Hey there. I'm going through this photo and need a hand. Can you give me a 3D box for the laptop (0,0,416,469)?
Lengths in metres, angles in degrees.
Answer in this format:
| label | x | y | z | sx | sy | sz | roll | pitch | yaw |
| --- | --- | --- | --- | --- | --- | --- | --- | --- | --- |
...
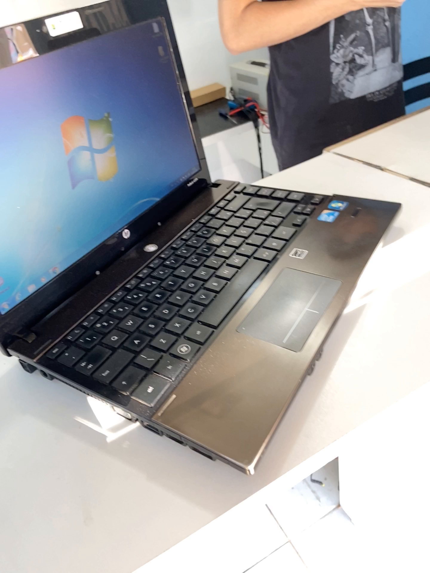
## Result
| label | x | y | z | sx | sy | sz | roll | pitch | yaw |
| --- | --- | --- | --- | --- | --- | --- | --- | --- | --- |
| laptop | -0.024 | -0.103 | 0.357 | 0.259 | 0.207 | 0.323 | 15 | 44 | 31 |
